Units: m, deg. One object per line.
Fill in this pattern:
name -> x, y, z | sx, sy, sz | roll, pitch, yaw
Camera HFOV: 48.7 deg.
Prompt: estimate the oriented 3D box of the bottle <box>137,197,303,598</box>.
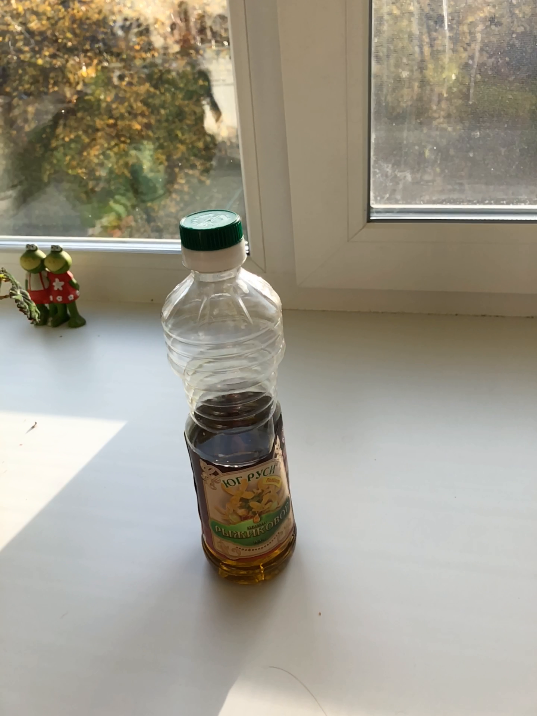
bottle -> -0.020, 0.031, 0.331 | 0.061, 0.217, 0.068 | -7, 32, -4
